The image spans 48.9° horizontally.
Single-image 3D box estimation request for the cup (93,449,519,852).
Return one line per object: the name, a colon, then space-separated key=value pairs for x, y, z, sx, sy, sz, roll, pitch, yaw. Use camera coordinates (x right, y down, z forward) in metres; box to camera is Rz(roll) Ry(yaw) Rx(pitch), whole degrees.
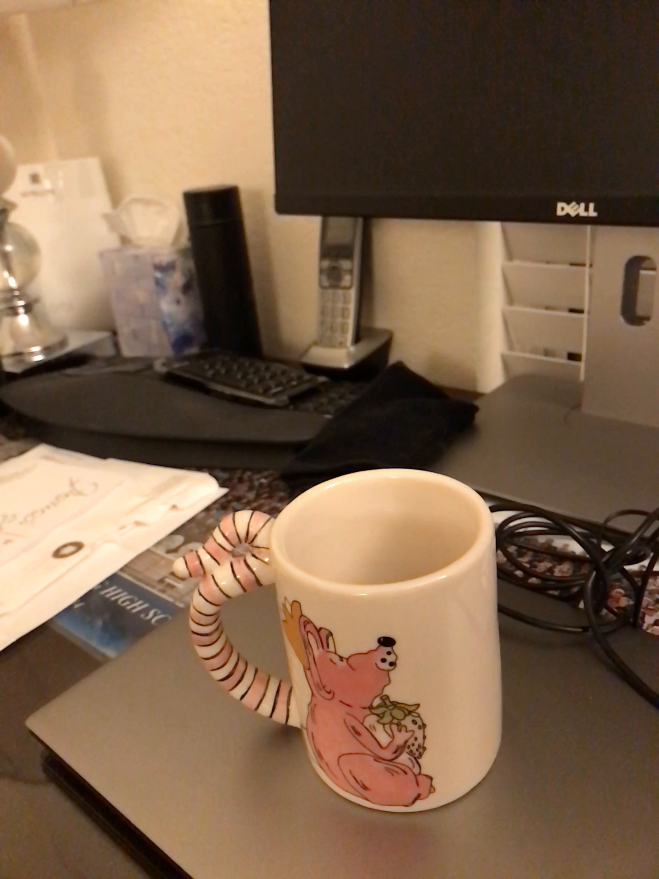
cup: x=0.000 y=0.070 z=0.274 sx=0.130 sy=0.099 sz=0.081 roll=3 pitch=25 yaw=20
